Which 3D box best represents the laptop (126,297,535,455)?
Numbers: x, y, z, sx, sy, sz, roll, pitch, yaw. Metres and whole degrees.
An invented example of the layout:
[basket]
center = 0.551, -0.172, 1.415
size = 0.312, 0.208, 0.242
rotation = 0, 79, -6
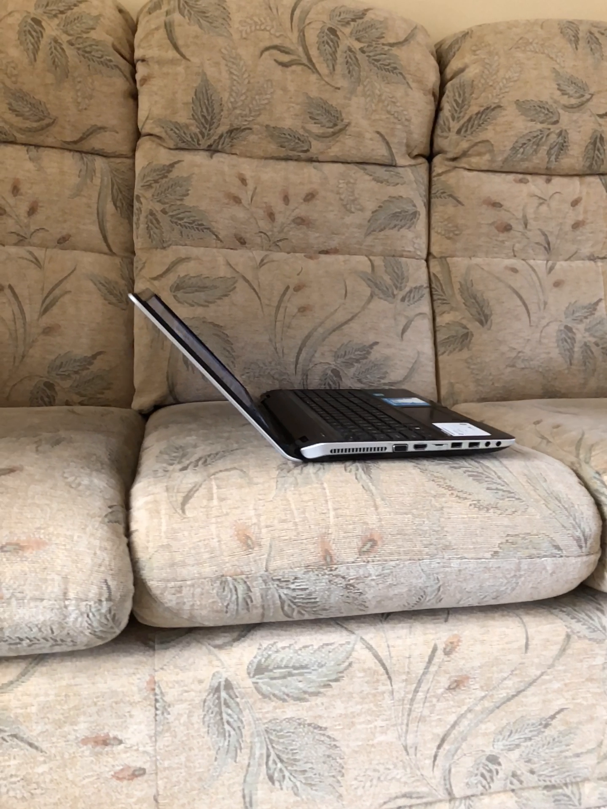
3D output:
[laptop]
center = 0.006, -0.058, 0.864
size = 0.410, 0.151, 0.397
rotation = -1, 10, -11
